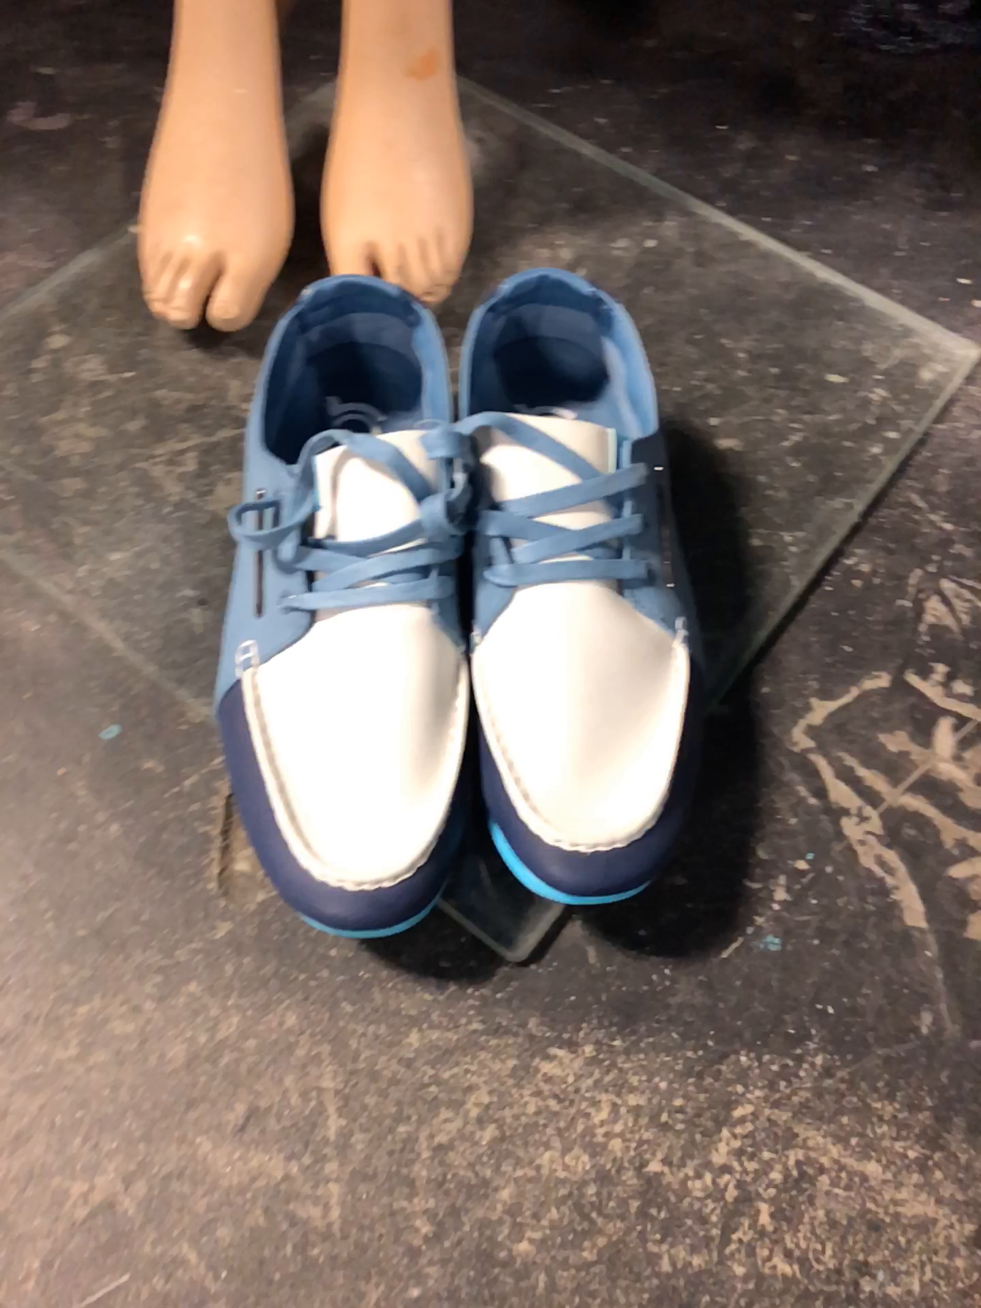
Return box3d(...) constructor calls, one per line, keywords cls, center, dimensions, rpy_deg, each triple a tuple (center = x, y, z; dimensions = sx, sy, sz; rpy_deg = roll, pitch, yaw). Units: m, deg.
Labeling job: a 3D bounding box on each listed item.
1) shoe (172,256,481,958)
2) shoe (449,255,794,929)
box3d(cls="shoe", center=(-0.055, -0.026, 0.424), dimensions=(0.090, 0.099, 0.261), rpy_deg=(-1, 61, -3))
box3d(cls="shoe", center=(0.038, -0.031, 0.430), dimensions=(0.100, 0.099, 0.251), rpy_deg=(-2, 61, -1))
